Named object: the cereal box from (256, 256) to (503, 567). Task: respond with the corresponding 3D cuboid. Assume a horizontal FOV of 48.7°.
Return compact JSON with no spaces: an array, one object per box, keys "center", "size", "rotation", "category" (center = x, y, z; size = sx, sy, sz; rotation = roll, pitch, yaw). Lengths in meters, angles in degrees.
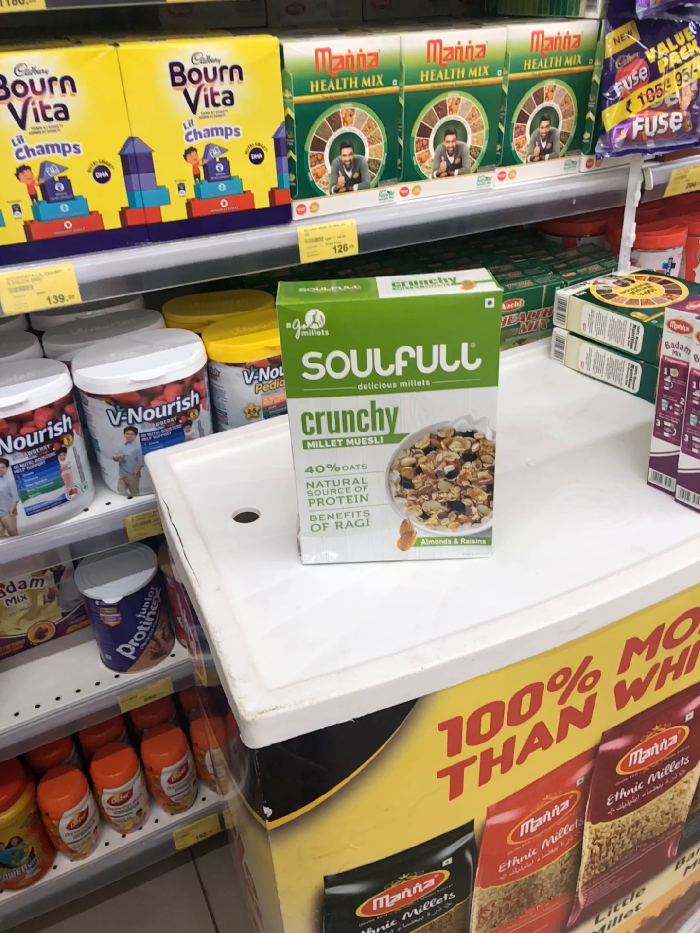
[{"center":[0.031,-0.039,0.658],"size":[0.180,0.249,0.070],"rotation":[-3,32,3],"category":"cereal box"}]
